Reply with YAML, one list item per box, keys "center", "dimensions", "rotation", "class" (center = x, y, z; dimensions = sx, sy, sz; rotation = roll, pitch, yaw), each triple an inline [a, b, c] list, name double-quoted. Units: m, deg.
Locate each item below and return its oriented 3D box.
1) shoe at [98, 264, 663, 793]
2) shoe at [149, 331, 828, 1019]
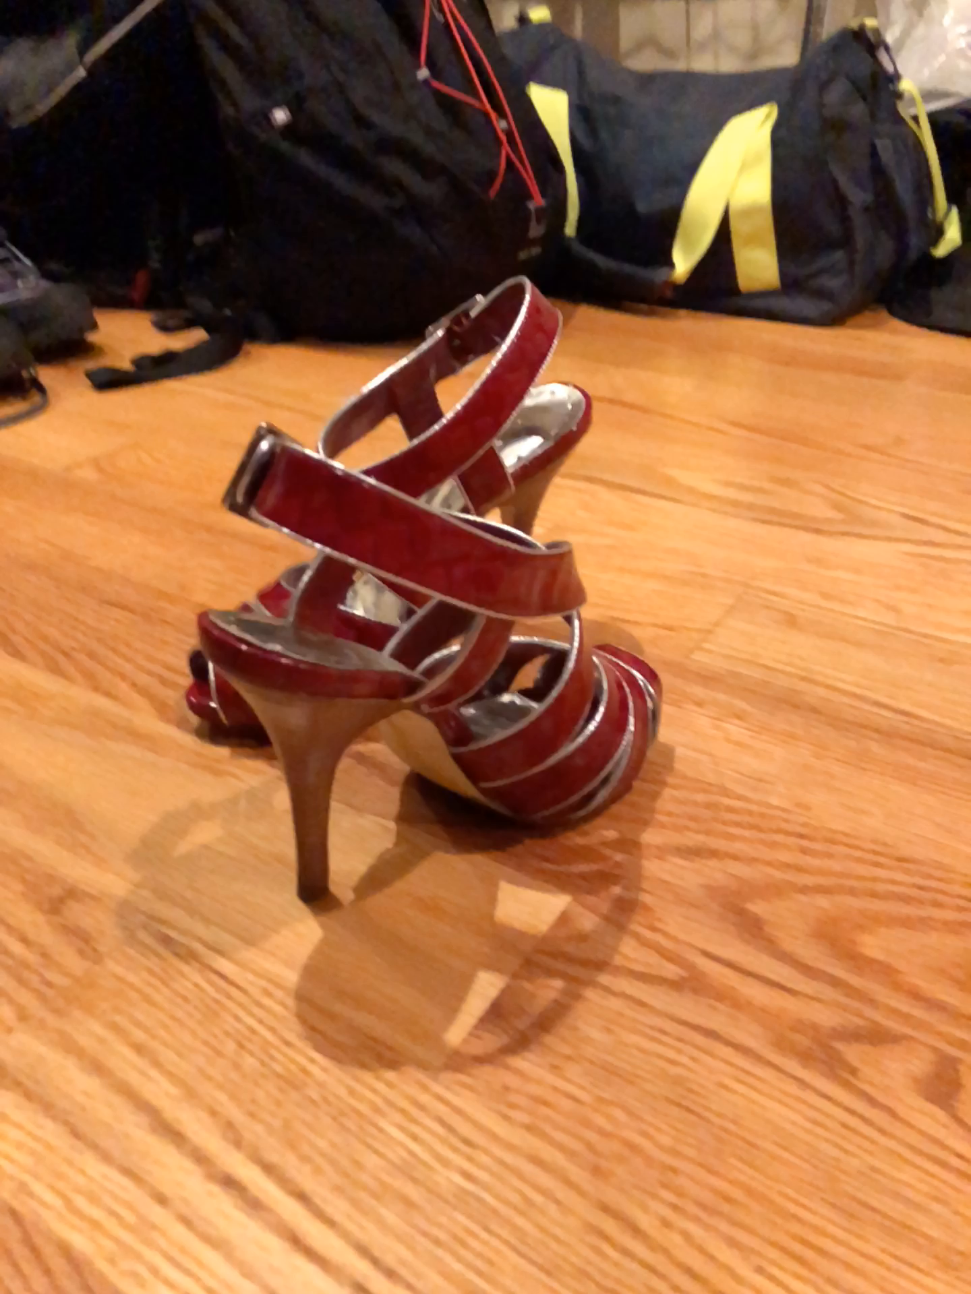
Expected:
- center: [-0.033, -0.062, 0.442]
  dimensions: [0.199, 0.151, 0.092]
  rotation: [-24, 38, -36]
  class: "shoe"
- center: [0.010, -0.008, 0.350]
  dimensions: [0.092, 0.141, 0.194]
  rotation: [26, 38, 37]
  class: "shoe"
